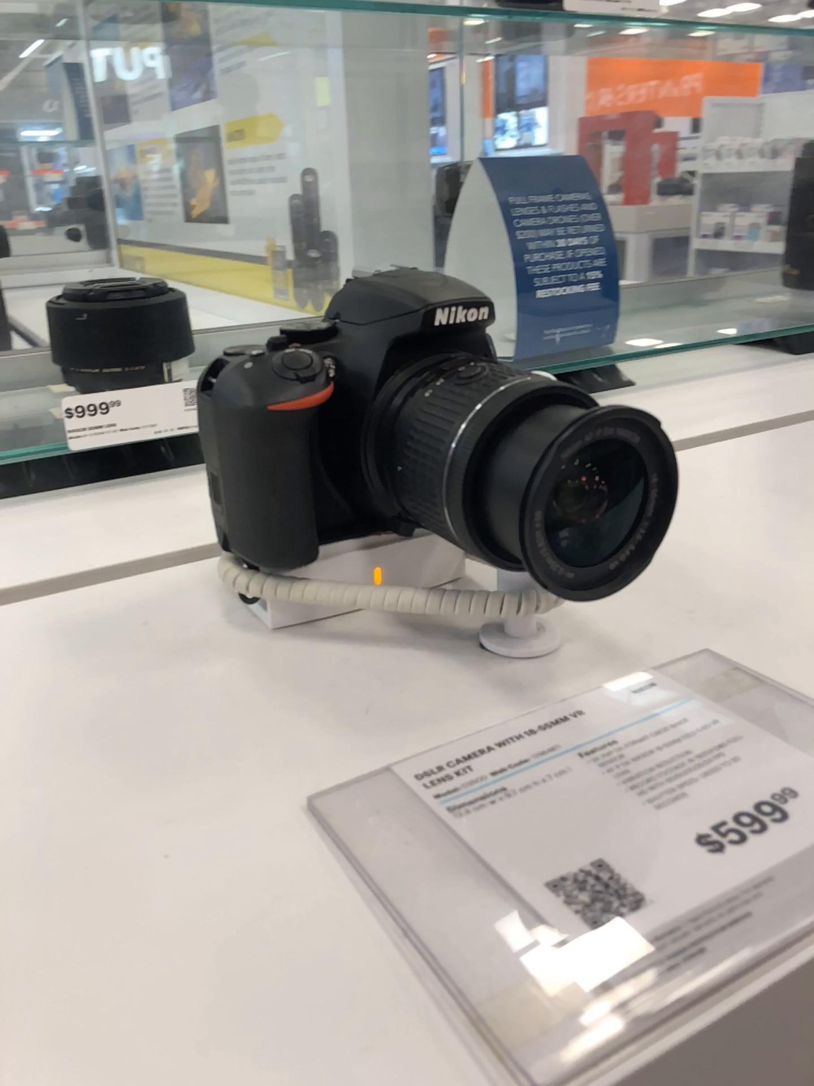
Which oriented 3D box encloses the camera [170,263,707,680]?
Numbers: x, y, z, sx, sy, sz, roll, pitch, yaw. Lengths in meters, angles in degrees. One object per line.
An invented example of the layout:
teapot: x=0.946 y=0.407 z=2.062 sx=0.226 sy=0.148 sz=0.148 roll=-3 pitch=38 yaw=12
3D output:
camera: x=0.000 y=-0.045 z=0.337 sx=0.120 sy=0.100 sz=0.171 roll=-13 pitch=23 yaw=-26
